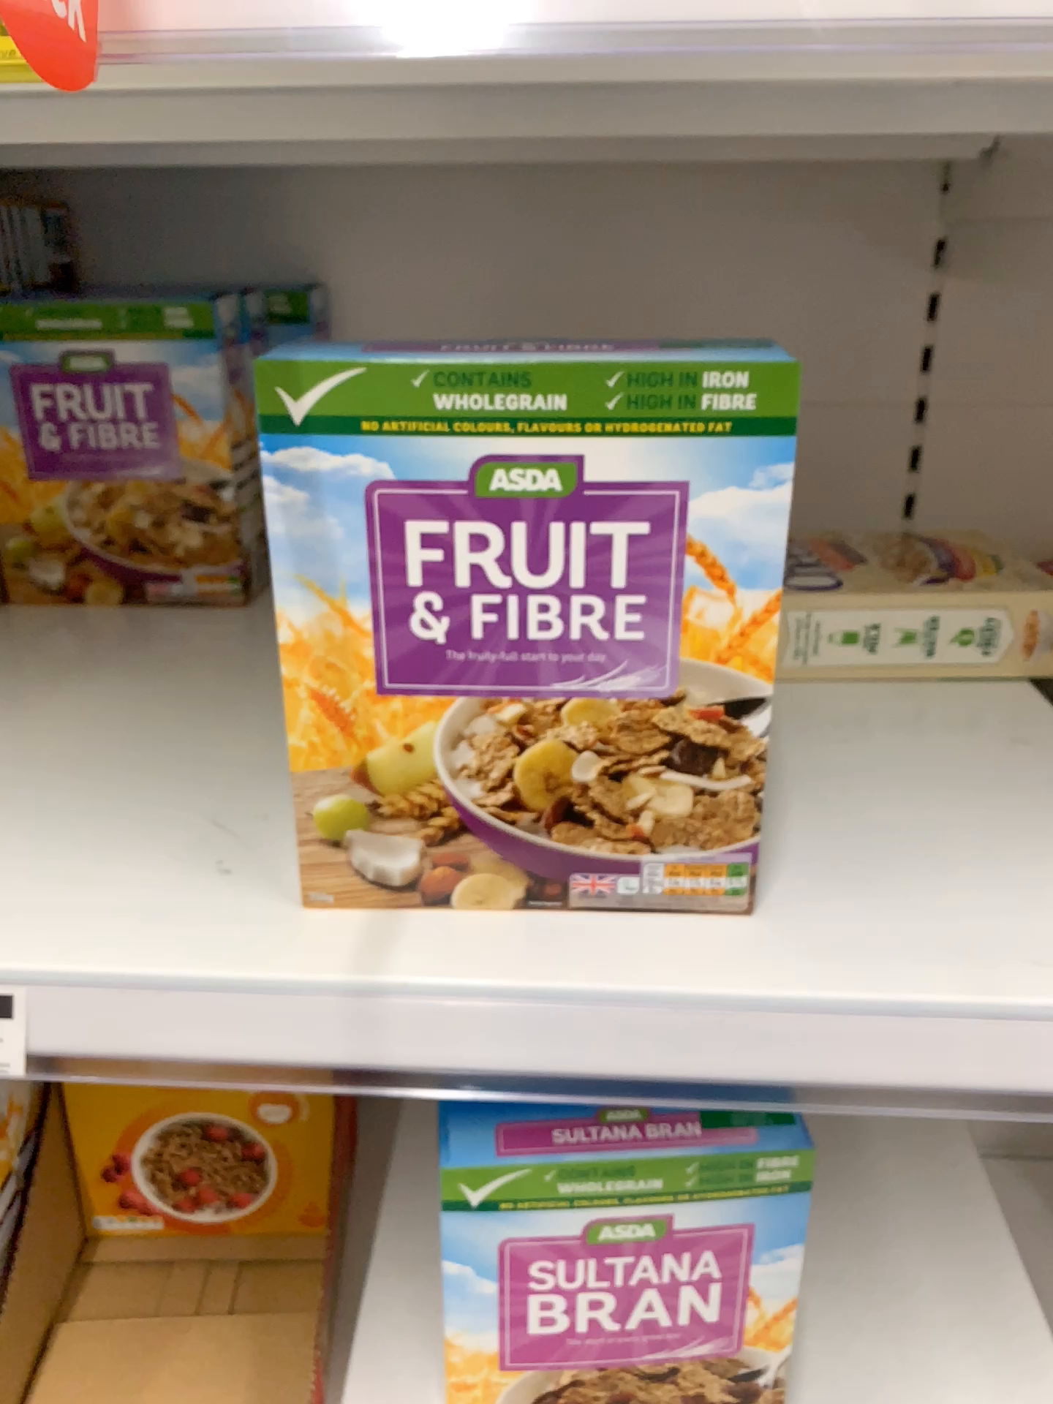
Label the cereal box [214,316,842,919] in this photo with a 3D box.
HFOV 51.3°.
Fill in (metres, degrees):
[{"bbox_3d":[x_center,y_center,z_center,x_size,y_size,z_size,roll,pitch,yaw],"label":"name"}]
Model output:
[{"bbox_3d":[0.003,-0.036,0.501,0.240,0.258,0.081,0,21,3],"label":"cereal box"}]
